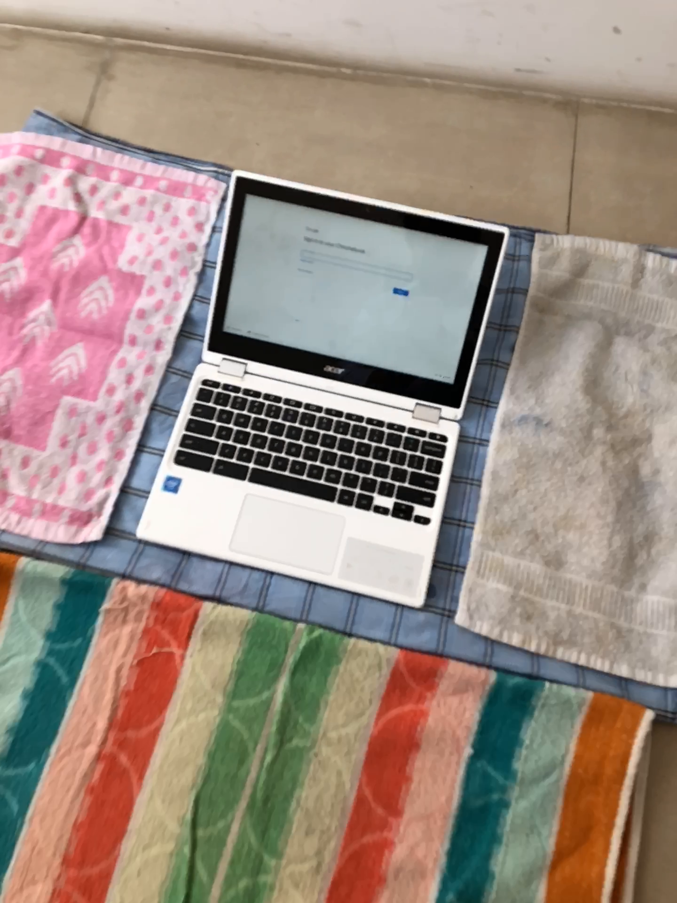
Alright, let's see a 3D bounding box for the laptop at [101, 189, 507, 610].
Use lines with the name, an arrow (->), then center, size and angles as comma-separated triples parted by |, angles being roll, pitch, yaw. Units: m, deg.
laptop -> -0.016, -0.060, 0.736 | 0.285, 0.101, 0.368 | 14, 68, 4
